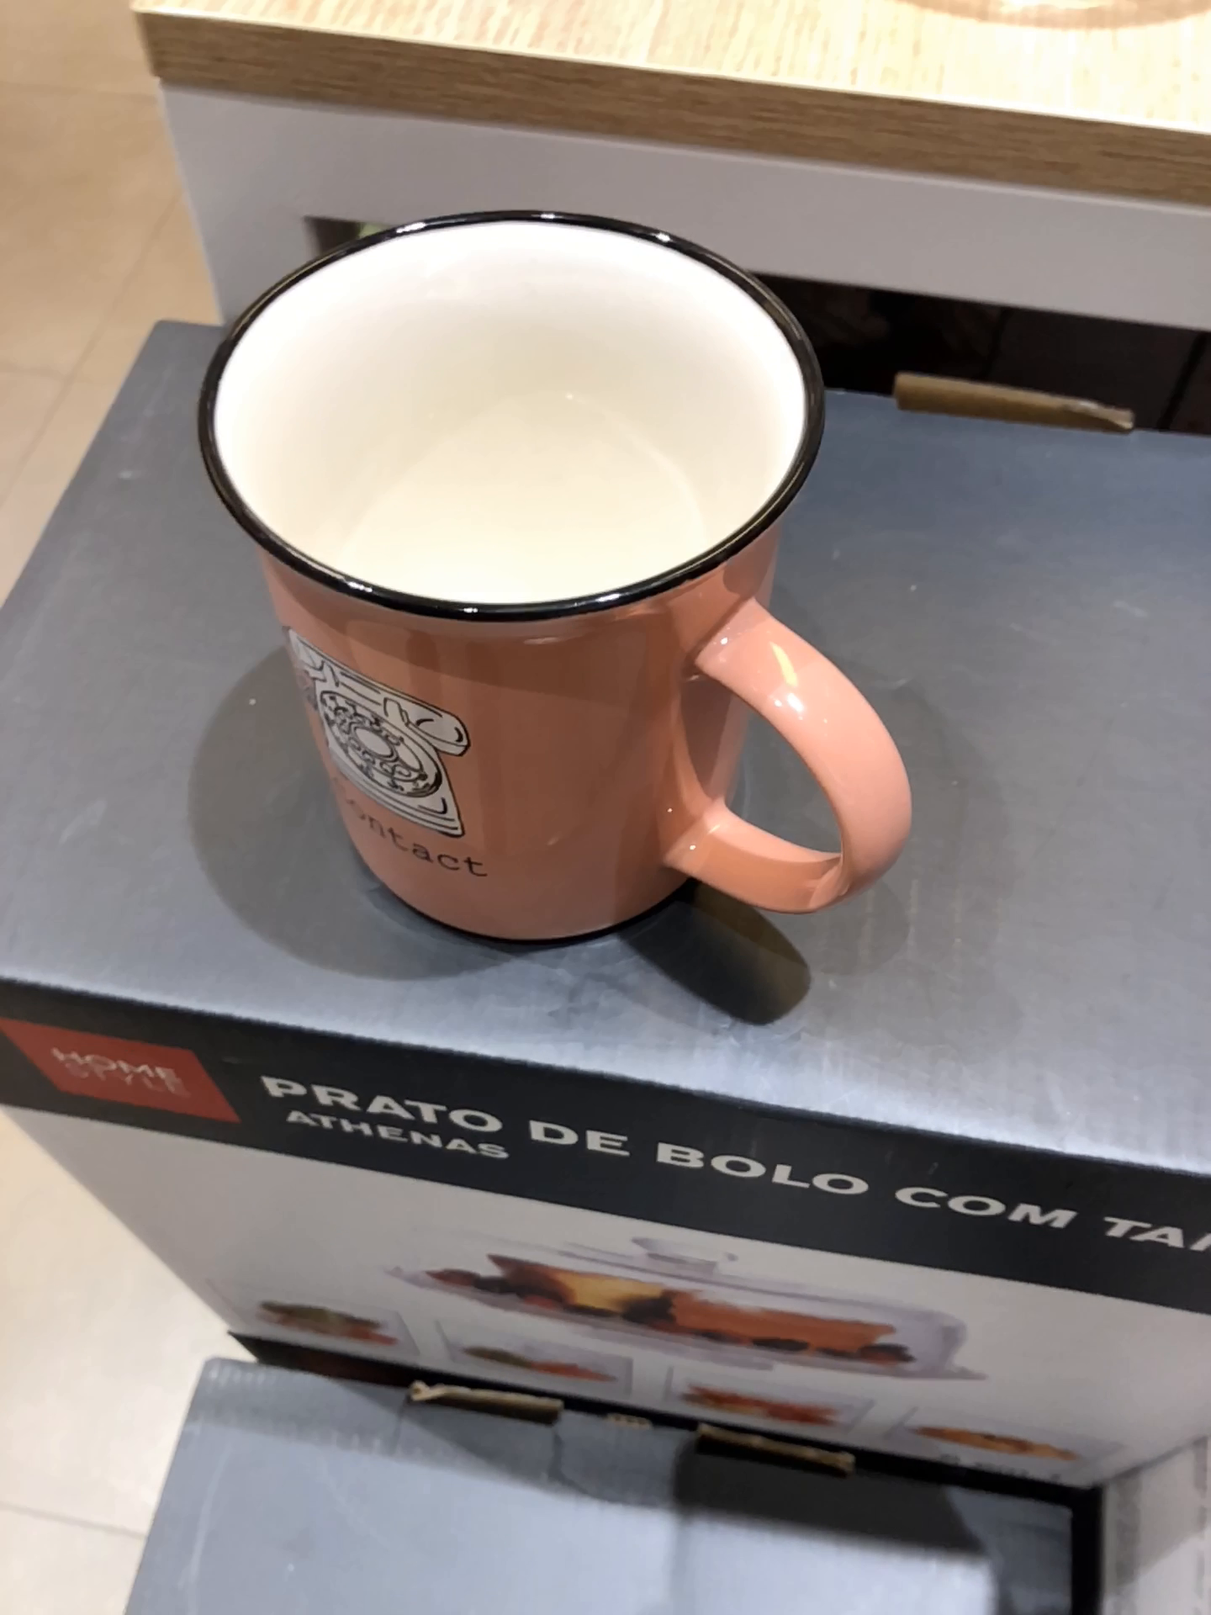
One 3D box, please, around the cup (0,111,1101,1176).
[{"bbox_3d":[-0.008,-0.023,0.201,0.110,0.090,0.080,31,63,18],"label":"cup"}]
